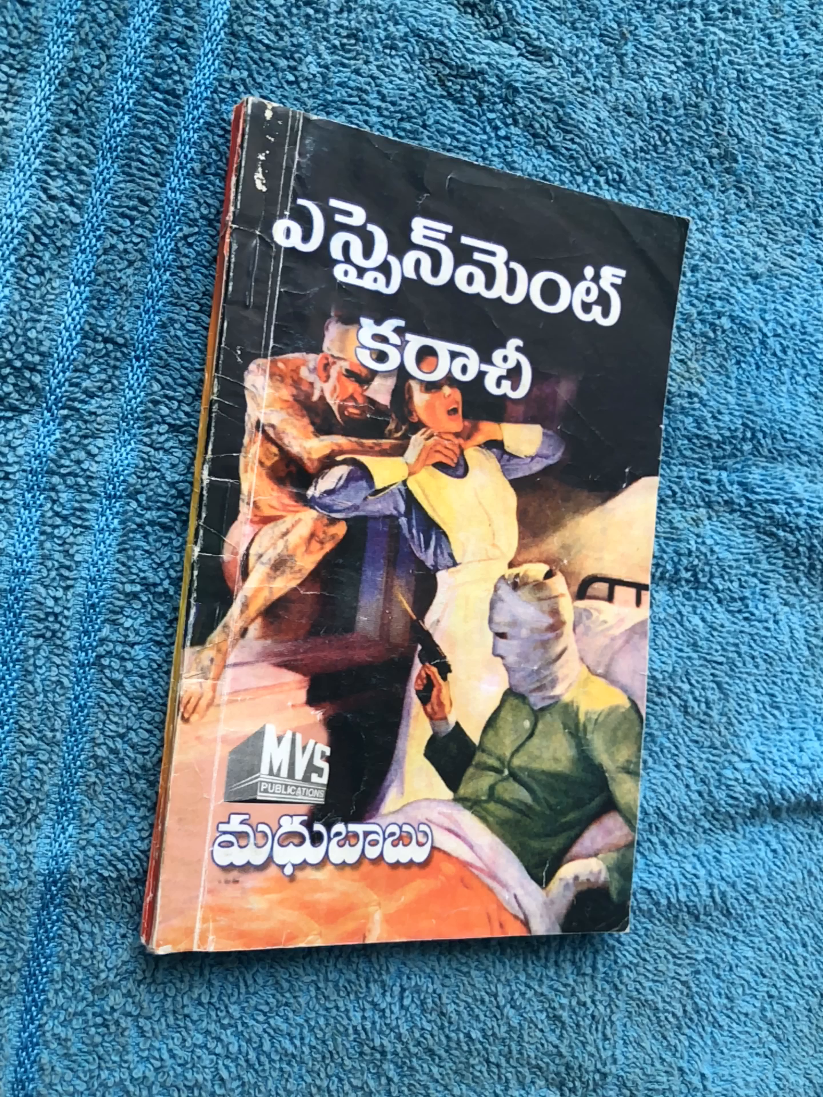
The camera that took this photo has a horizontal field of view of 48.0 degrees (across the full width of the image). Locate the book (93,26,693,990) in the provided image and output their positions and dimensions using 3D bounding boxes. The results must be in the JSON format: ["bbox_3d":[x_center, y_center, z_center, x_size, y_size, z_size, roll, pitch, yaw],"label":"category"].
[{"bbox_3d":[0.002,-0.004,0.192,0.110,0.020,0.170,6,86,-22],"label":"book"}]
